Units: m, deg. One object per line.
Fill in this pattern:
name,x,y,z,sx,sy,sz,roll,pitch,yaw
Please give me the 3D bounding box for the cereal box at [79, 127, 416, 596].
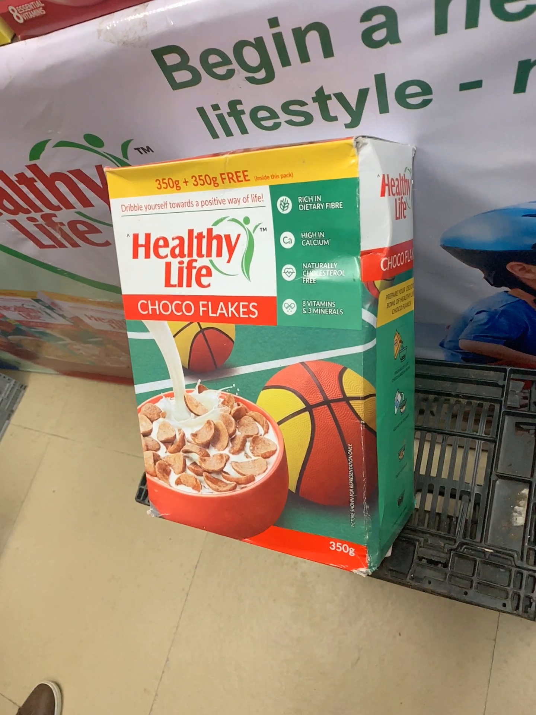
cereal box,-0.009,-0.002,0.406,0.211,0.090,0.280,5,108,31
